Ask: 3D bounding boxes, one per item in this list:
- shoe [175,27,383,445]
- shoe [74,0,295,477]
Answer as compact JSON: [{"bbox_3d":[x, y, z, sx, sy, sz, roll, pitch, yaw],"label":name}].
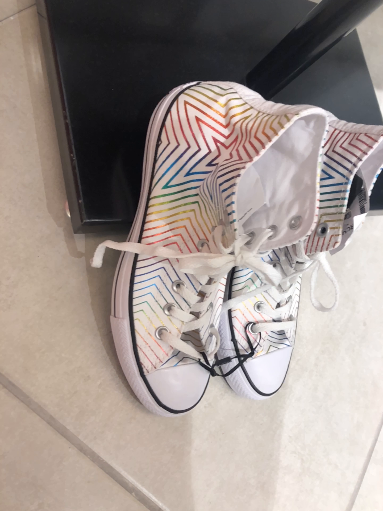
[{"bbox_3d":[0.079,-0.015,0.395,0.121,0.139,0.300,-2,89,-31],"label":"shoe"},{"bbox_3d":[-0.015,-0.017,0.347,0.121,0.139,0.300,-2,96,-31],"label":"shoe"}]
